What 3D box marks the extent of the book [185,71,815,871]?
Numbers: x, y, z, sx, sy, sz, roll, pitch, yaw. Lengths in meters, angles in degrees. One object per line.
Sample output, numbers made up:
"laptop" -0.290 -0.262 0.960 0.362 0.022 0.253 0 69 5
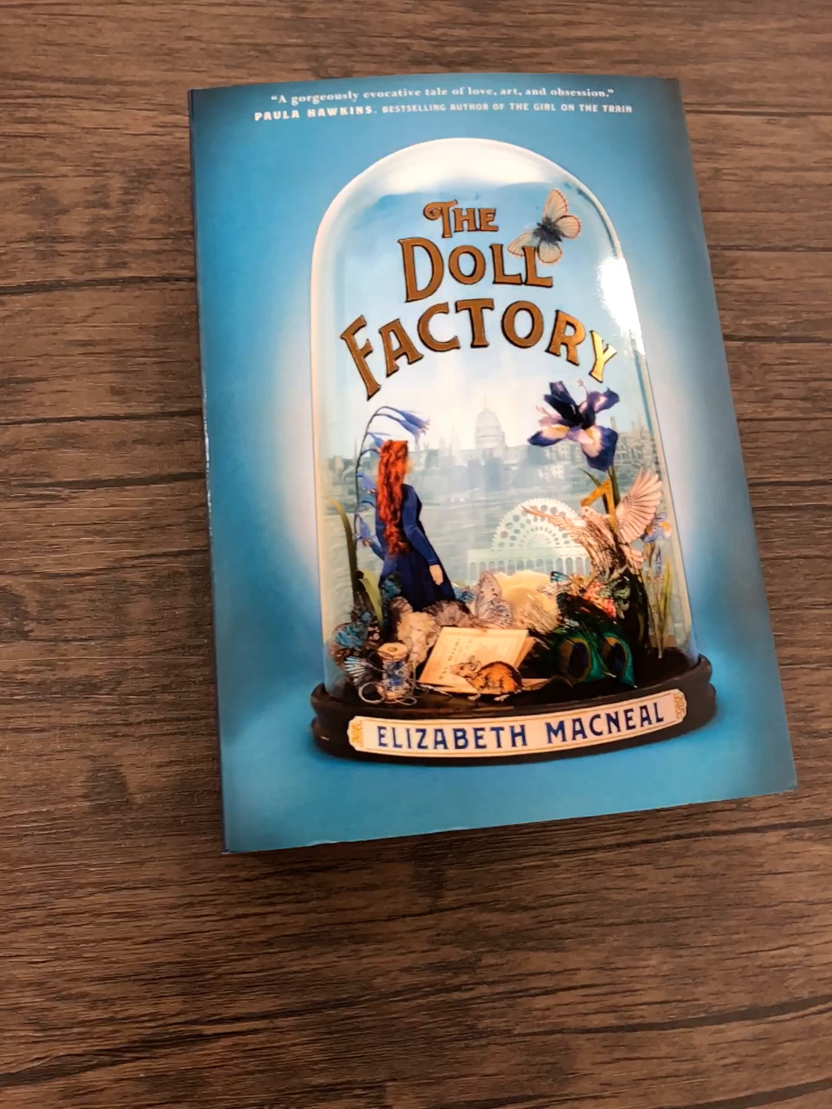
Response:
"book" 0.018 -0.034 0.288 0.160 0.040 0.230 -4 79 -9
